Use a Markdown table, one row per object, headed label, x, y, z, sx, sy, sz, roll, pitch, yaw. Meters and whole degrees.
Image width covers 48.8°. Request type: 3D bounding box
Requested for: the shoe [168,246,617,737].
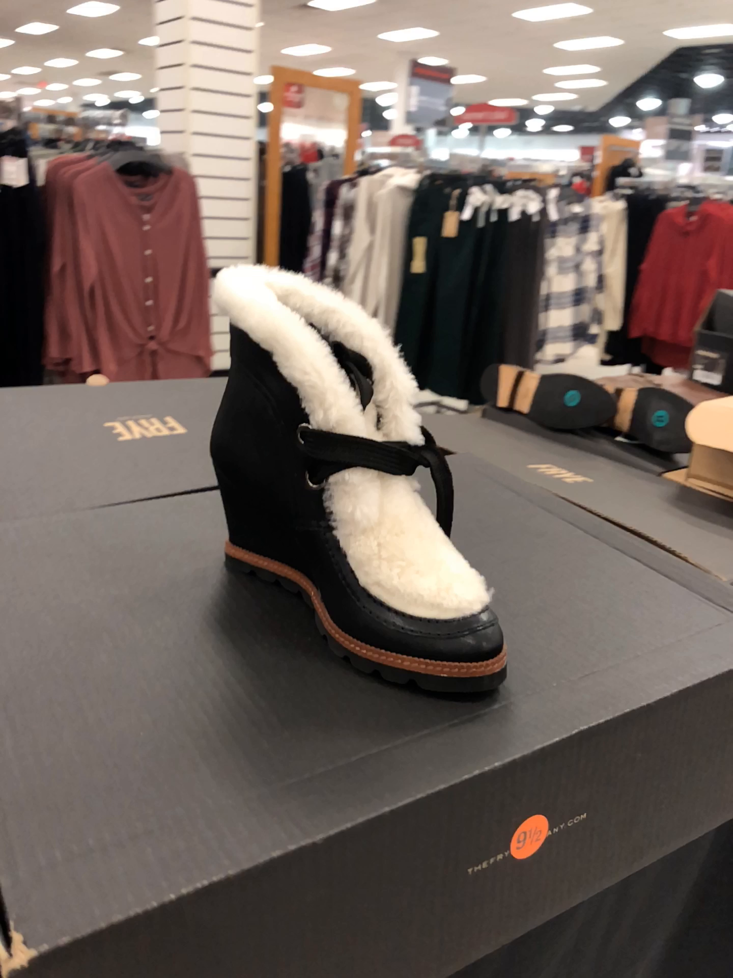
| label | x | y | z | sx | sy | sz | roll | pitch | yaw |
| --- | --- | --- | --- | --- | --- | --- | --- | --- | --- |
| shoe | -0.005 | -0.023 | 0.476 | 0.101 | 0.208 | 0.247 | -15 | 27 | -41 |
